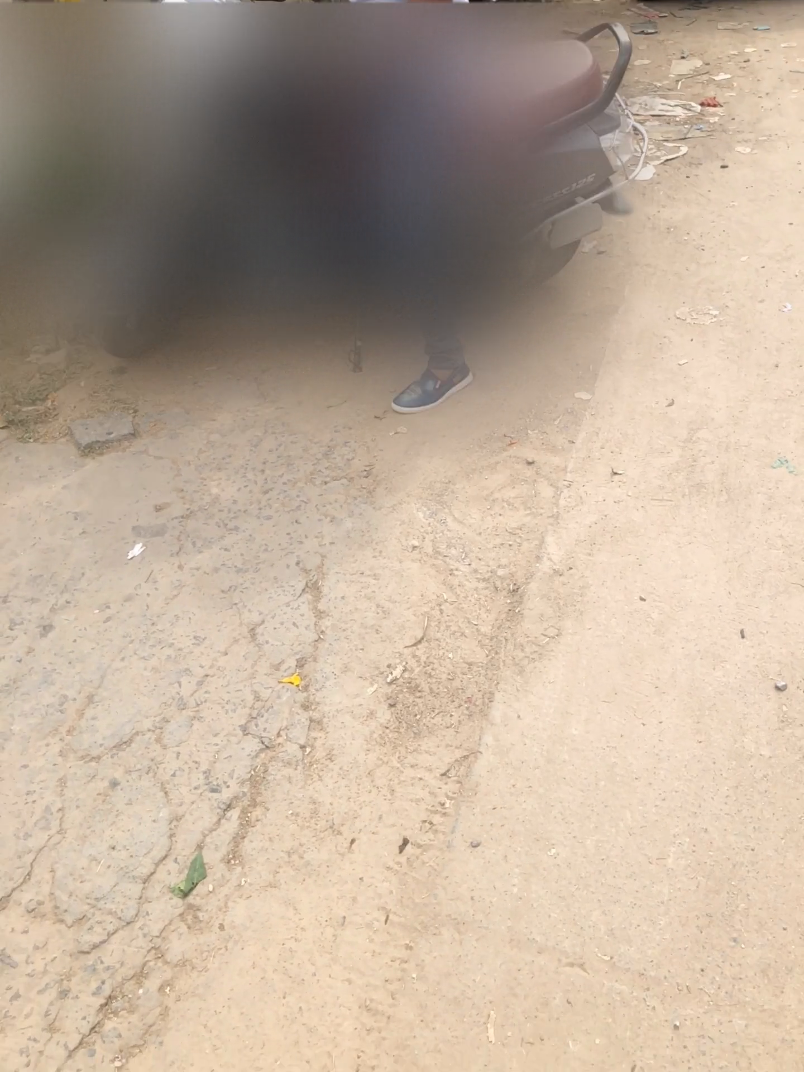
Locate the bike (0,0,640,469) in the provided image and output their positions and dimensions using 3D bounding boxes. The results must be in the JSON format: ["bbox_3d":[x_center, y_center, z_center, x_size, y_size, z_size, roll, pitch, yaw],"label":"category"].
[{"bbox_3d":[-0.180,-0.996,2.337,1.498,1.196,0.613,-16,38,-11],"label":"bike"}]
